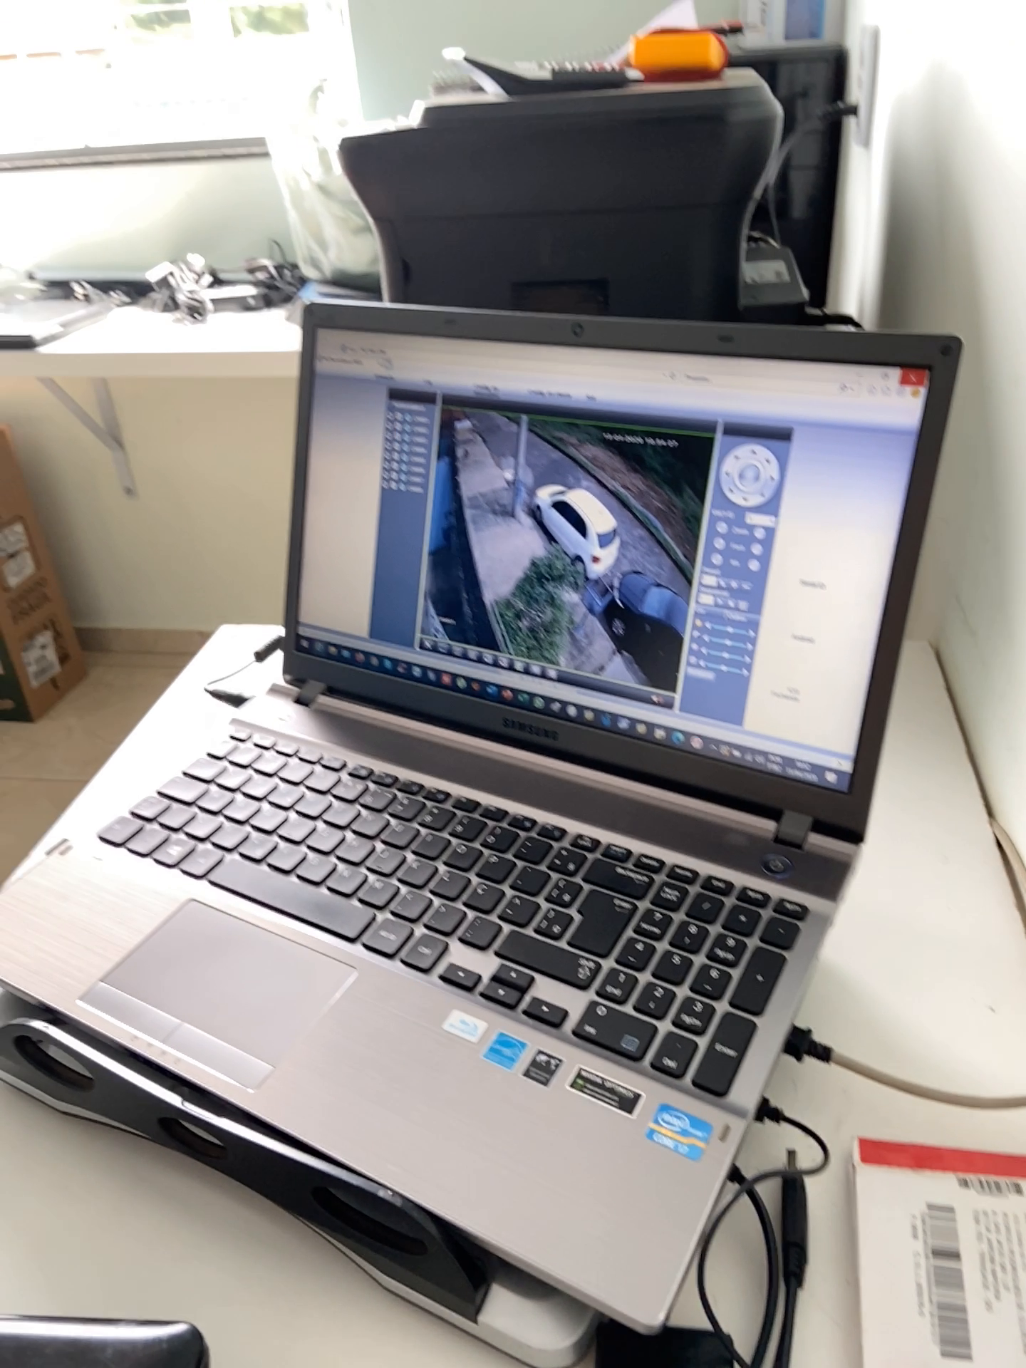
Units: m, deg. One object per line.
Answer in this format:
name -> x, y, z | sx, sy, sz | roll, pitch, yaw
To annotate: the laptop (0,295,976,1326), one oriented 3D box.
laptop -> -0.035, -0.017, 0.476 | 0.367, 0.213, 0.336 | 13, 37, 28
